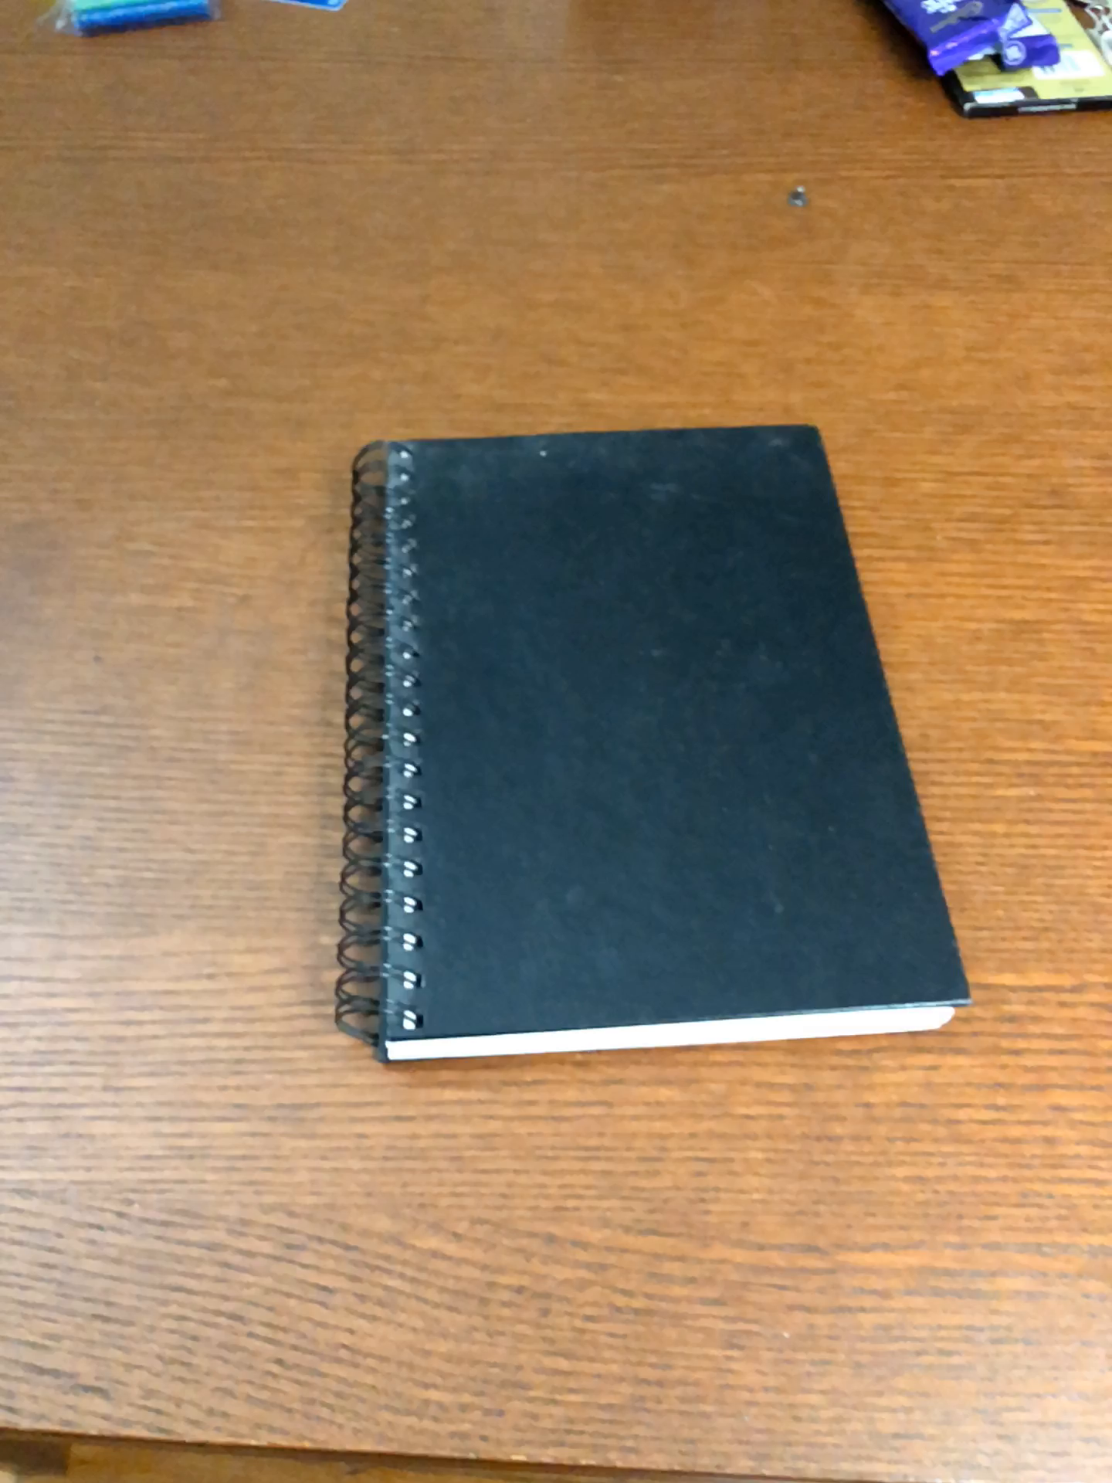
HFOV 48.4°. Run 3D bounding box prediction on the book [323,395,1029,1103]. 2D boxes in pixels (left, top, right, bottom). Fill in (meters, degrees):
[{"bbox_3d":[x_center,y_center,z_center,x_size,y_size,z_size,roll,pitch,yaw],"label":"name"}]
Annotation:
[{"bbox_3d":[0.024,-0.016,0.433,0.200,0.030,0.261,-4,56,-3],"label":"book"}]
